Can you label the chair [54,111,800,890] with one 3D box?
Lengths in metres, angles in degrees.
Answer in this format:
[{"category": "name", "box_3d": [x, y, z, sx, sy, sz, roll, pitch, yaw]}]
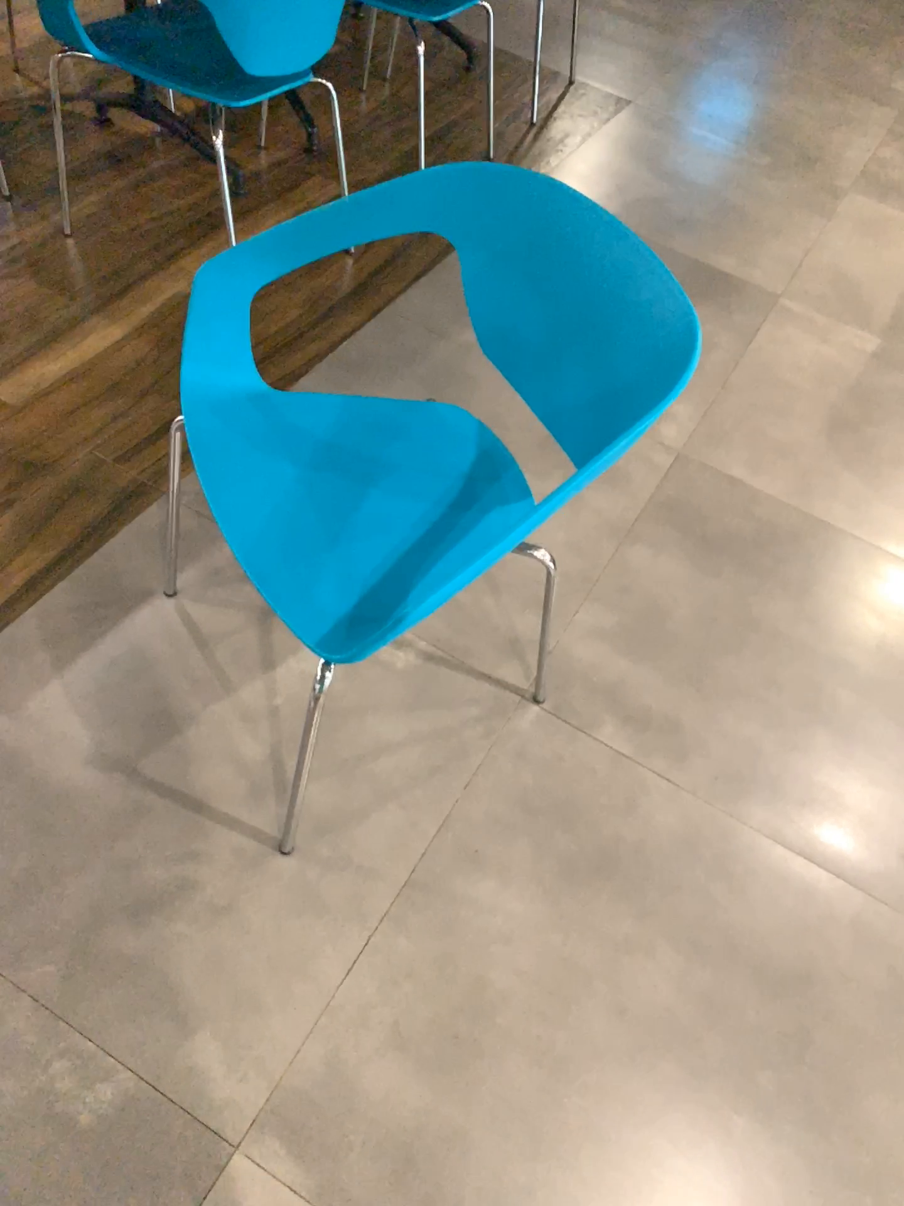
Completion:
[{"category": "chair", "box_3d": [-0.094, -0.136, 1.267, 0.591, 0.724, 0.613, -18, 57, -23]}]
